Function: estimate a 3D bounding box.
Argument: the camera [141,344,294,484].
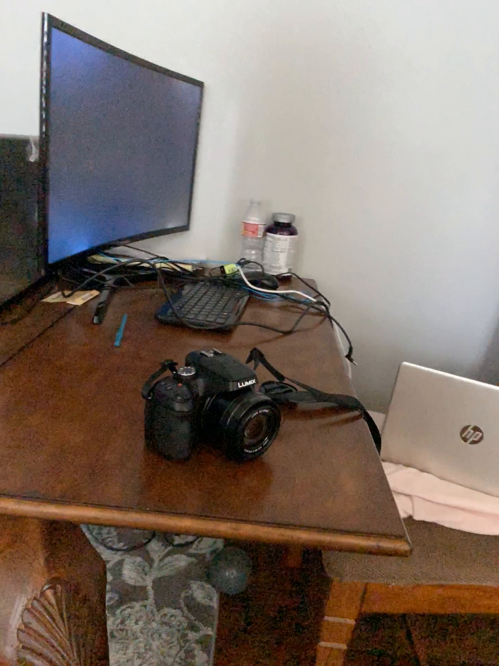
[{"bbox_3d":[-0.038,0.084,0.588,0.130,0.089,0.110,-13,26,-41],"label":"camera"}]
